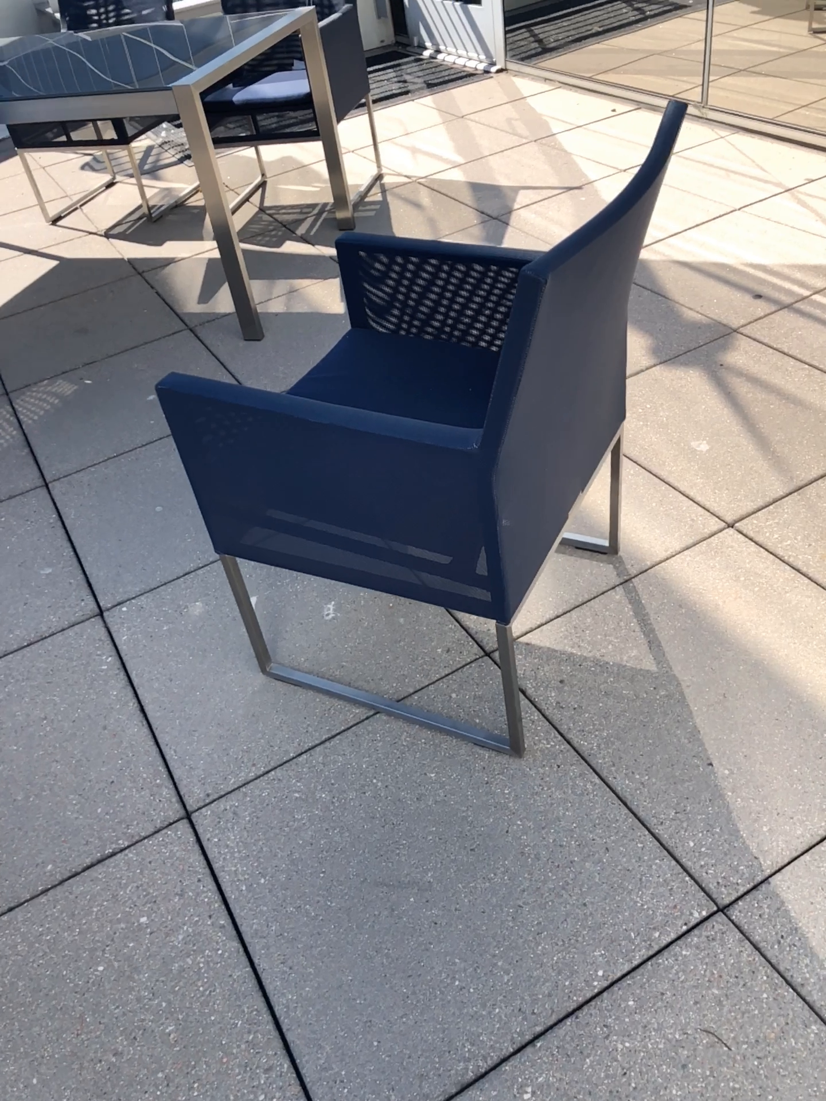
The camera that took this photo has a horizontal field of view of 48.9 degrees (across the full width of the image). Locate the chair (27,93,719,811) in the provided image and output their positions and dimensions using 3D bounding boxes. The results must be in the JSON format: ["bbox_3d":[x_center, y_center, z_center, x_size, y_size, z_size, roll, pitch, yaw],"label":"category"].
[{"bbox_3d":[0.027,-0.190,1.409,0.672,0.776,0.652,12,44,24],"label":"chair"}]
